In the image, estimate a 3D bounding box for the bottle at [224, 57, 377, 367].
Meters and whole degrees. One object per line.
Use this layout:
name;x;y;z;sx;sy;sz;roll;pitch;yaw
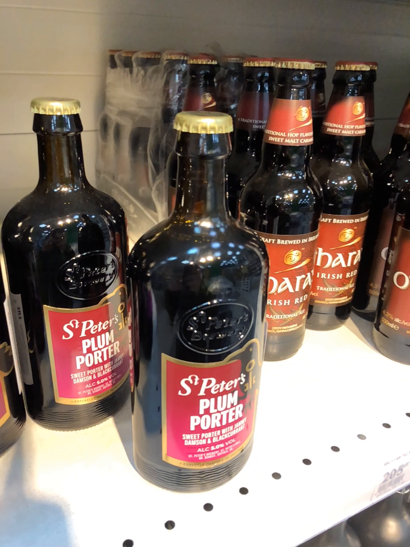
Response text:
bottle;0.065;-0.045;0.365;0.071;0.231;0.070;1;25;-1

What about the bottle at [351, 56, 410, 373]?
bottle;0.187;-0.043;0.363;0.074;0.235;0.070;1;25;-1

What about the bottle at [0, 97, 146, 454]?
bottle;-0.093;0.001;0.300;0.079;0.213;0.070;-16;30;-33

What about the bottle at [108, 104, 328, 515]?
bottle;0.001;0.021;0.249;0.082;0.209;0.058;-9;27;-22
